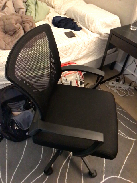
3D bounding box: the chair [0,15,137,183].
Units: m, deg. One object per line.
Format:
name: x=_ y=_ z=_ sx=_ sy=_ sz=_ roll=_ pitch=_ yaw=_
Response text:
chair: x=0.028 y=0.096 z=0.909 sx=0.580 sy=0.834 sz=0.625 roll=8 pitch=45 yaw=10
